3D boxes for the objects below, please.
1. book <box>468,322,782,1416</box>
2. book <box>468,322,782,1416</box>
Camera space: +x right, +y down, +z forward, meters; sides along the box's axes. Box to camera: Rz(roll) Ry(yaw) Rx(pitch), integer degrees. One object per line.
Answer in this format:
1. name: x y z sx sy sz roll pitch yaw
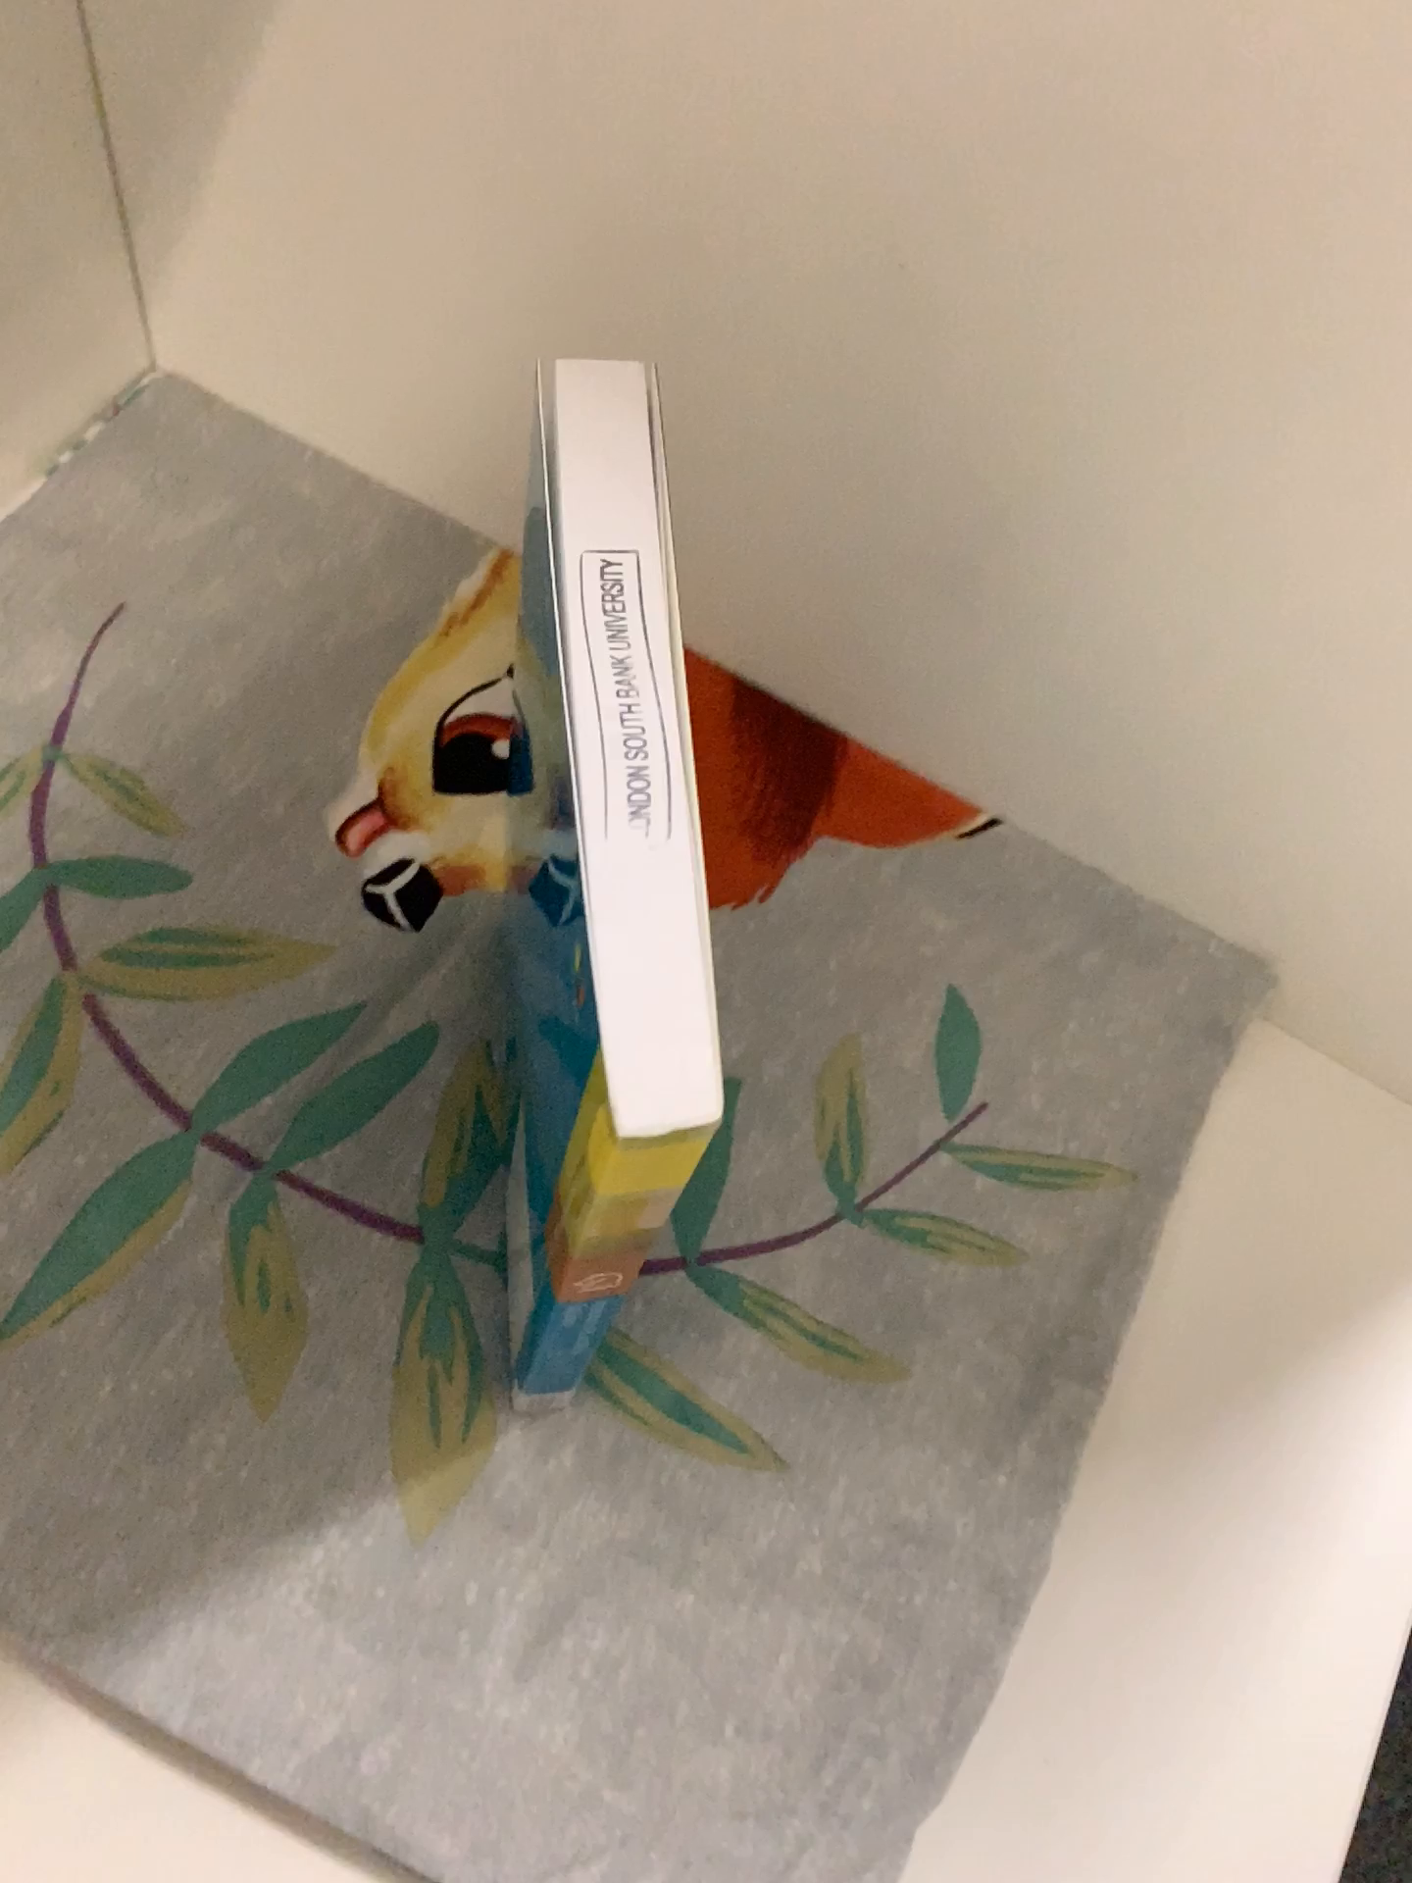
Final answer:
1. book: -0.034 0.006 0.351 0.030 0.229 0.171 -2 63 -12
2. book: -0.034 0.006 0.351 0.030 0.229 0.171 -2 63 -12
